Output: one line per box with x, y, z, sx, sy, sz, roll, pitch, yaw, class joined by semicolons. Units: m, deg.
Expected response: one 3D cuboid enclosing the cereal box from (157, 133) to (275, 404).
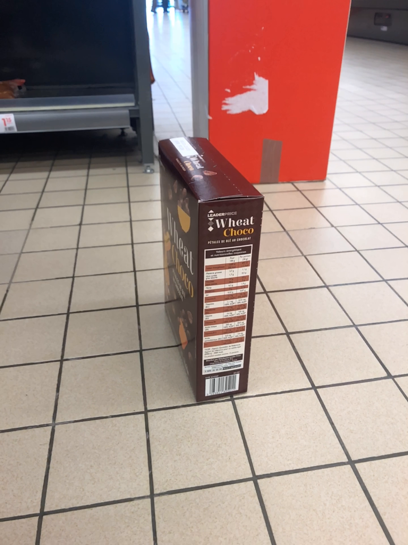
0.003;-0.013;0.537;0.070;0.248;0.201;-8;32;-13;cereal box
